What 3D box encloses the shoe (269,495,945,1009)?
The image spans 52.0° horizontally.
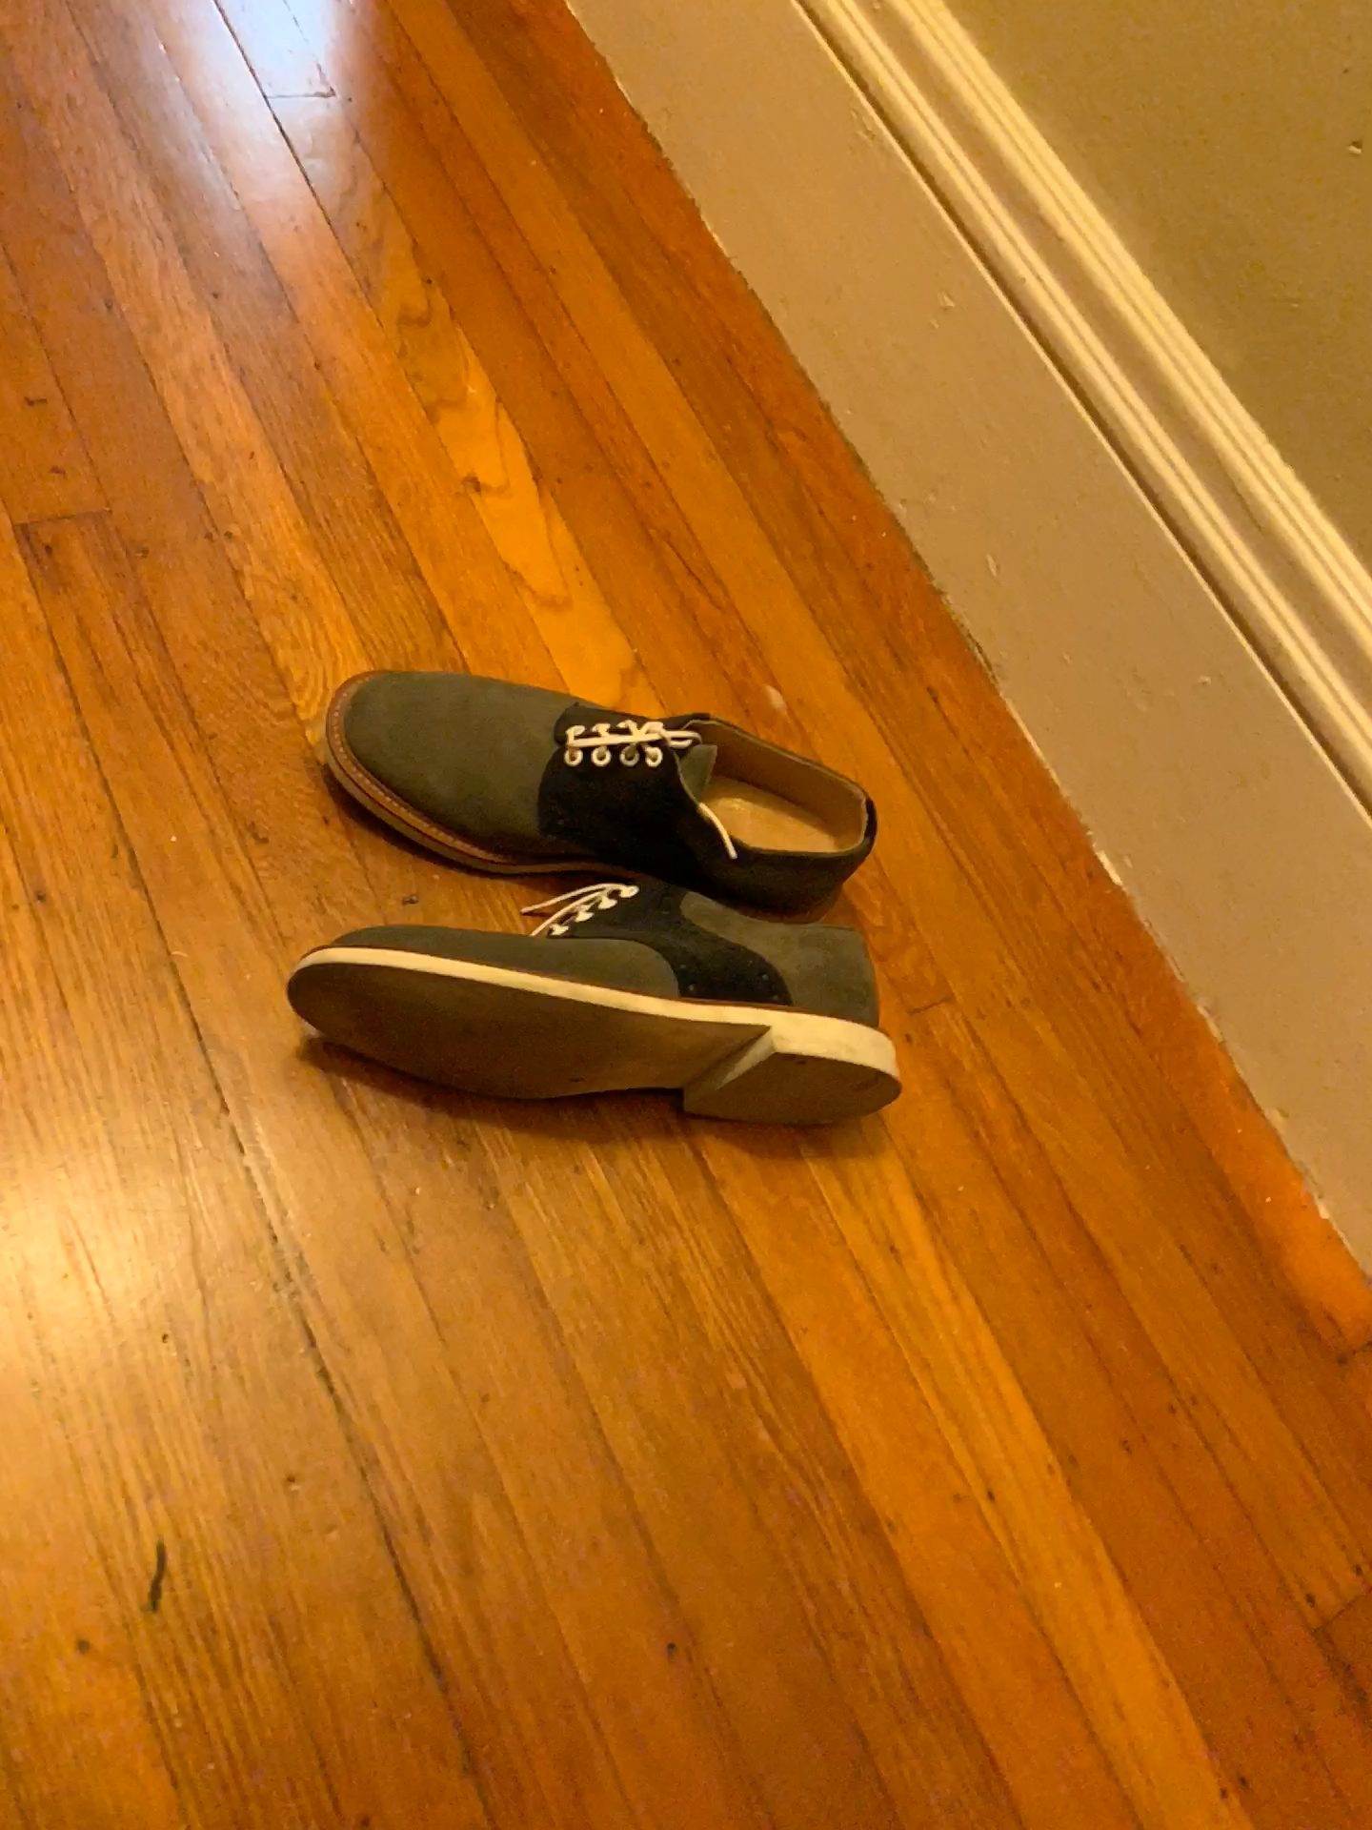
[{"bbox_3d":[-0.037,-0.079,0.725,0.310,0.100,0.130,20,58,-8],"label":"shoe"}]

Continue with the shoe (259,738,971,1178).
[{"bbox_3d":[-0.036,0.030,0.689,0.310,0.130,0.120,10,58,-14],"label":"shoe"}]
